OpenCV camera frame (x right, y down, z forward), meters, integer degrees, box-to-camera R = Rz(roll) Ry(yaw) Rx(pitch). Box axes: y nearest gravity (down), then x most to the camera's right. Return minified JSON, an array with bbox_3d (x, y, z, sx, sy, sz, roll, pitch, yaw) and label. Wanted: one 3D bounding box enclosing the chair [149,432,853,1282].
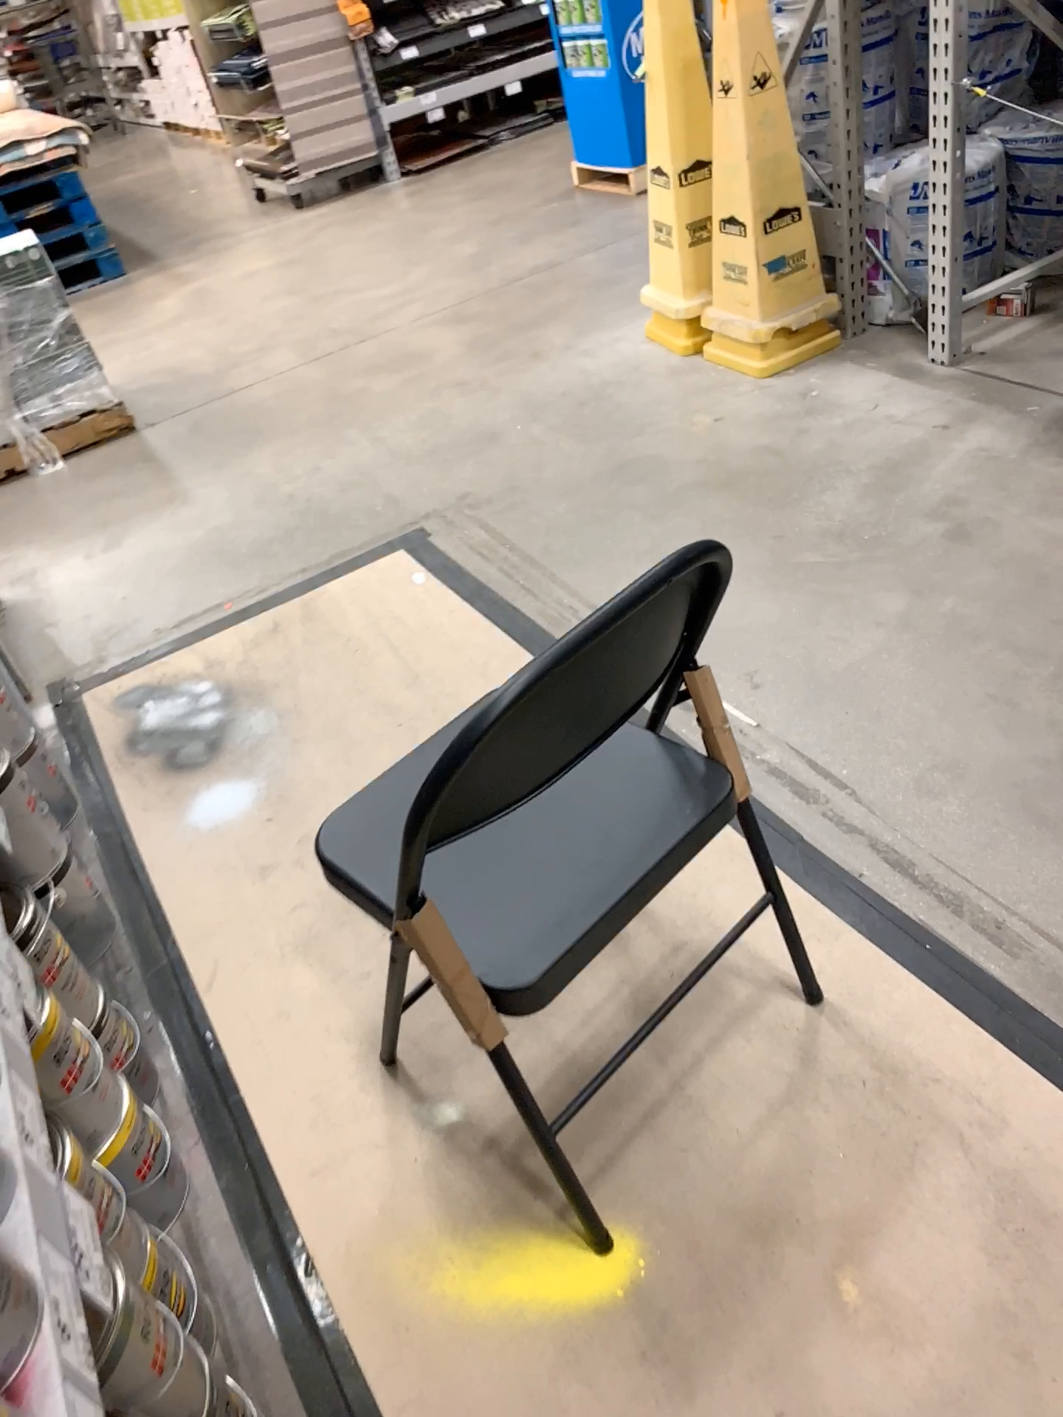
[{"bbox_3d":[0.016,0.149,1.230,0.452,0.713,0.476,-38,42,-27],"label":"chair"}]
